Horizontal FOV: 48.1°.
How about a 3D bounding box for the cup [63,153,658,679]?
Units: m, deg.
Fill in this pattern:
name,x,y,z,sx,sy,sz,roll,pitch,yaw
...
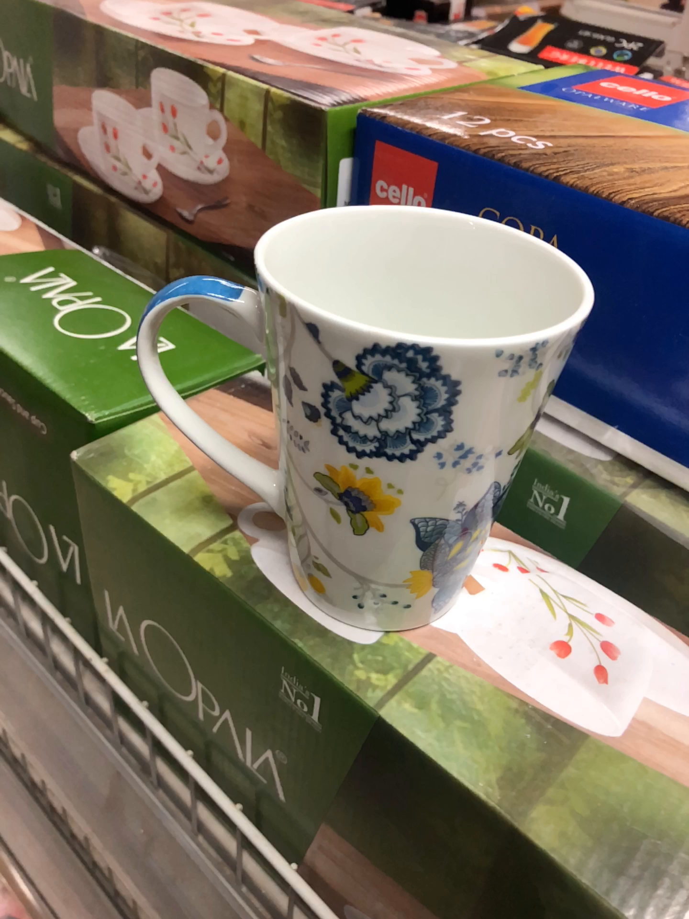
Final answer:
name,x,y,z,sx,sy,sz,roll,pitch,yaw
cup,0.007,-0.015,0.188,0.110,0.079,0.070,14,40,12
